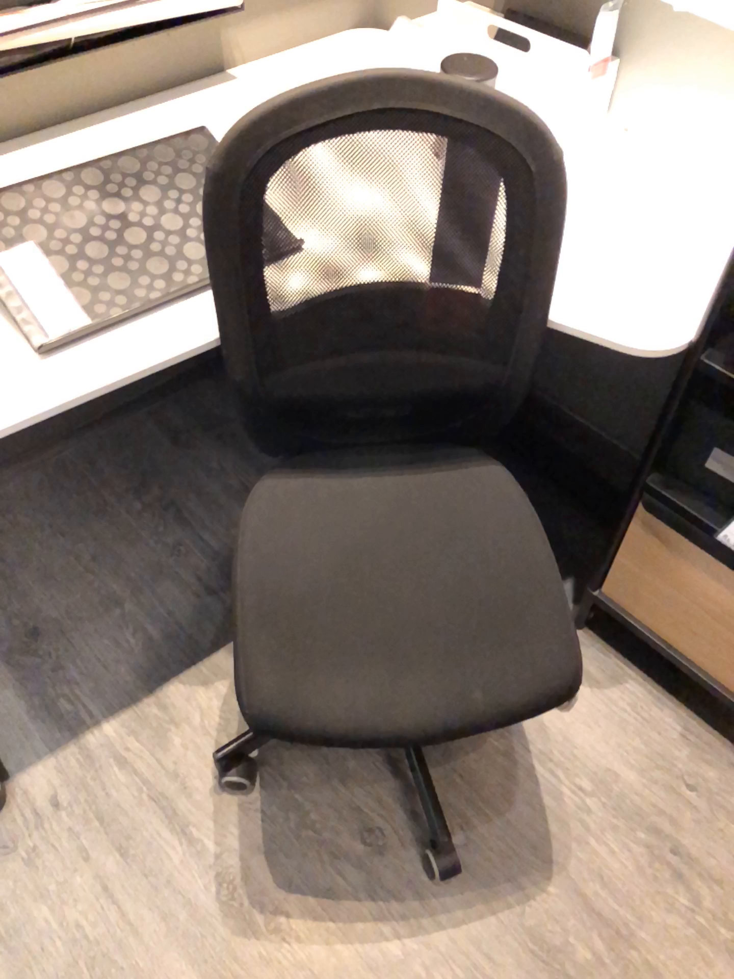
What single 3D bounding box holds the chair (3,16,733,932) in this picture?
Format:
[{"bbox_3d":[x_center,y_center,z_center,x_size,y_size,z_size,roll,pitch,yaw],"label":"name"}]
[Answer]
[{"bbox_3d":[0.040,0.021,1.040,0.630,0.885,0.714,-7,51,-7],"label":"chair"}]
